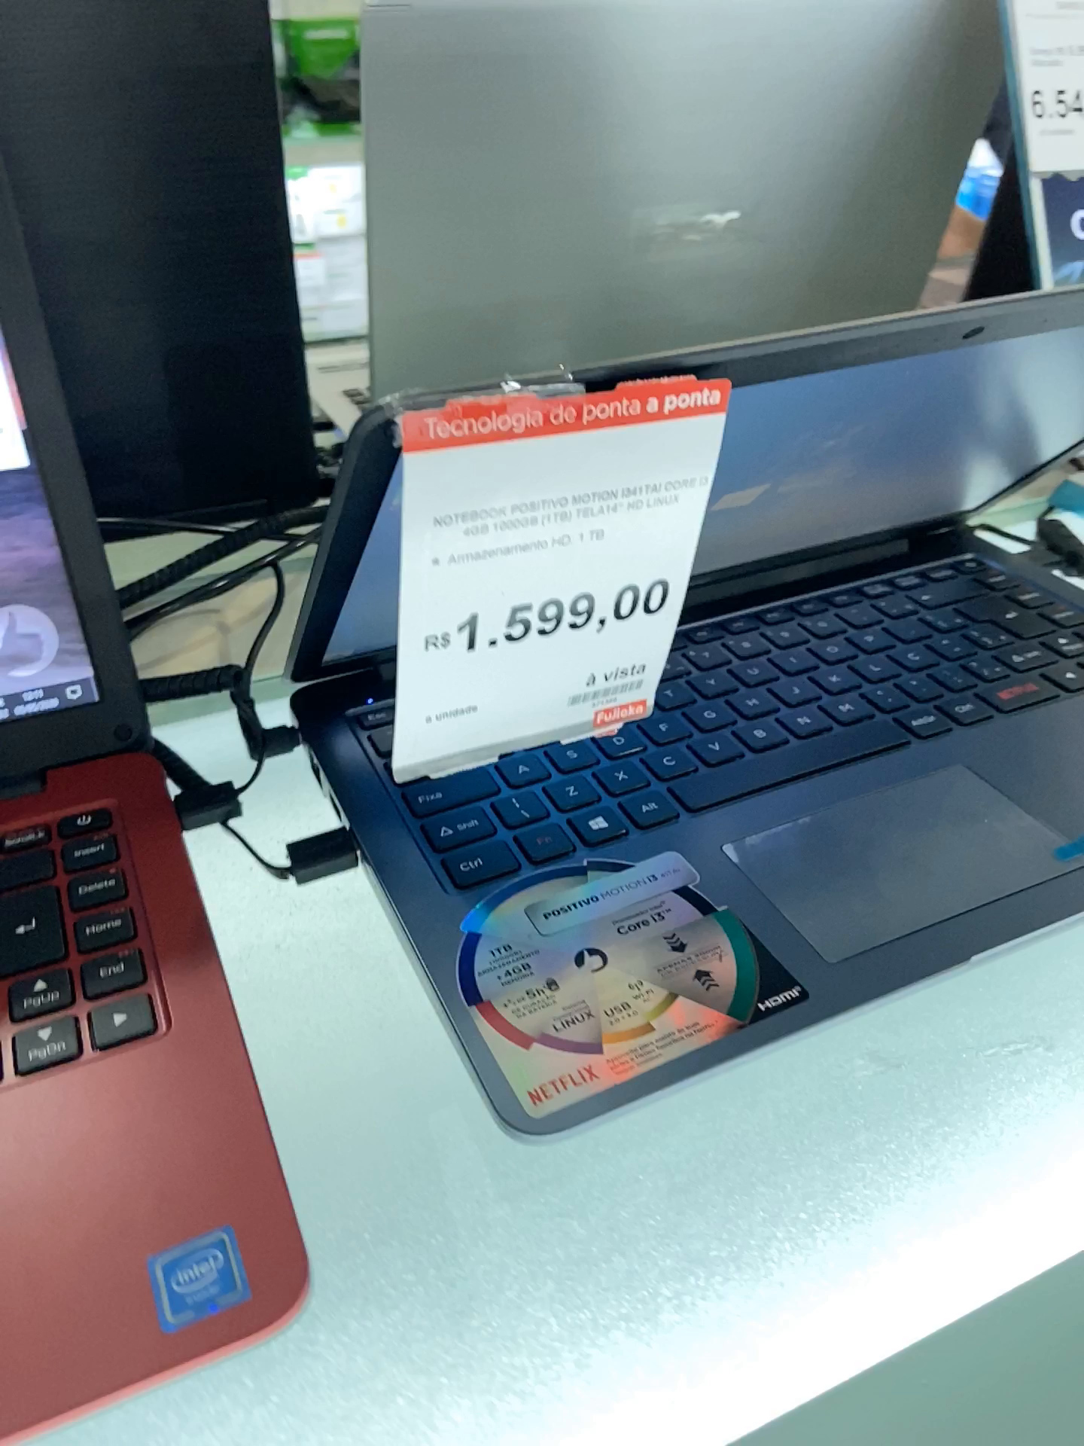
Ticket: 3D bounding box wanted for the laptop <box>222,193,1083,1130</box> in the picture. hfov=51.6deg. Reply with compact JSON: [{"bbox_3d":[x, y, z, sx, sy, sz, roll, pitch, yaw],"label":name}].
[{"bbox_3d":[0.094,-0.060,0.347,0.316,0.145,0.211,-15,35,-21],"label":"laptop"}]
